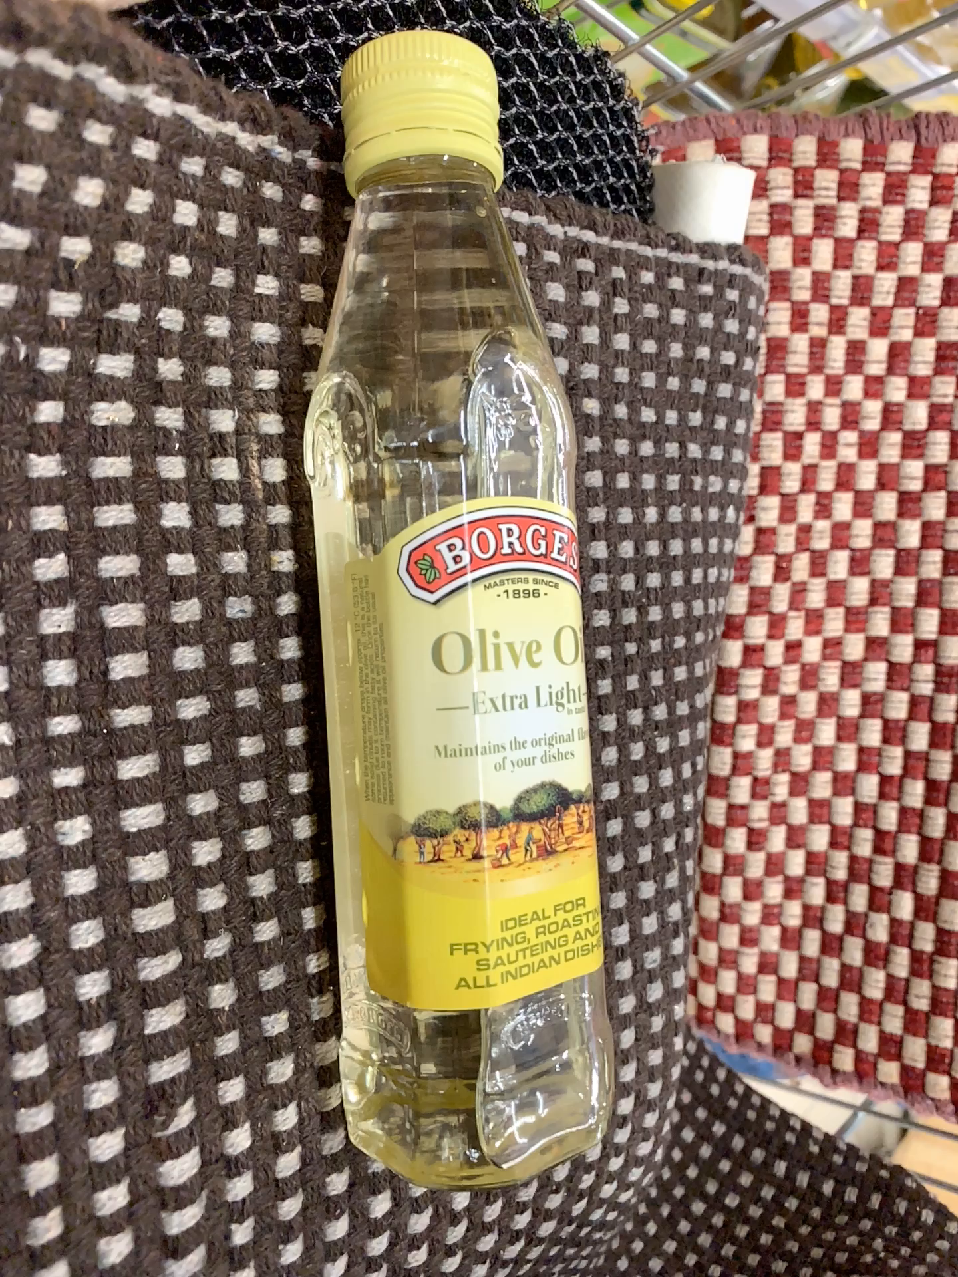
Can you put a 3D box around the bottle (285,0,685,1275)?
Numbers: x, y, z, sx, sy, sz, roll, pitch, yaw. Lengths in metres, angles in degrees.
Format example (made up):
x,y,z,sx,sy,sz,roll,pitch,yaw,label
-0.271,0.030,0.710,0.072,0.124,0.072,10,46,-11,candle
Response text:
x,y,z,sx,sy,sz,roll,pitch,yaw,label
0.002,-0.005,0.185,0.060,0.040,0.200,0,89,-41,bottle
